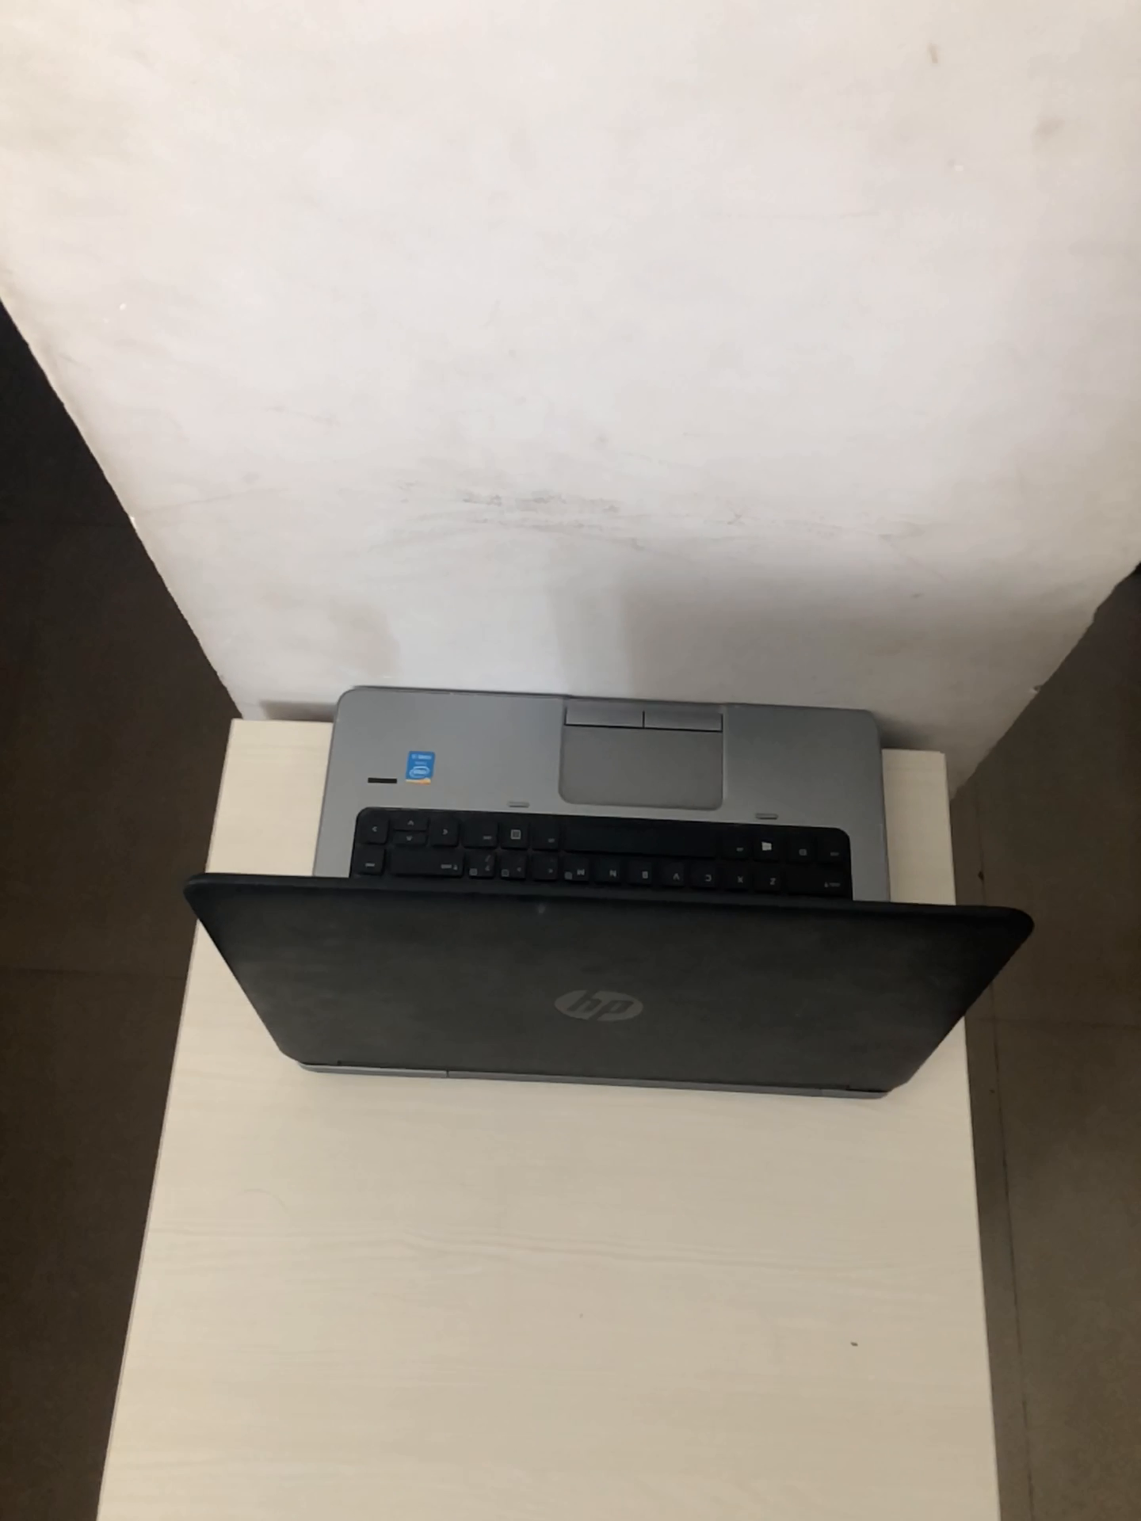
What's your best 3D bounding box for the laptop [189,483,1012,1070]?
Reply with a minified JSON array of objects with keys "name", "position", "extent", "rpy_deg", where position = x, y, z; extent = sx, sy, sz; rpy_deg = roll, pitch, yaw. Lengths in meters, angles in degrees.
[{"name":"laptop","position":[0.017,0.025,0.620],"extent":[0.317,0.227,0.204],"rpy_deg":[3,69,1]}]
